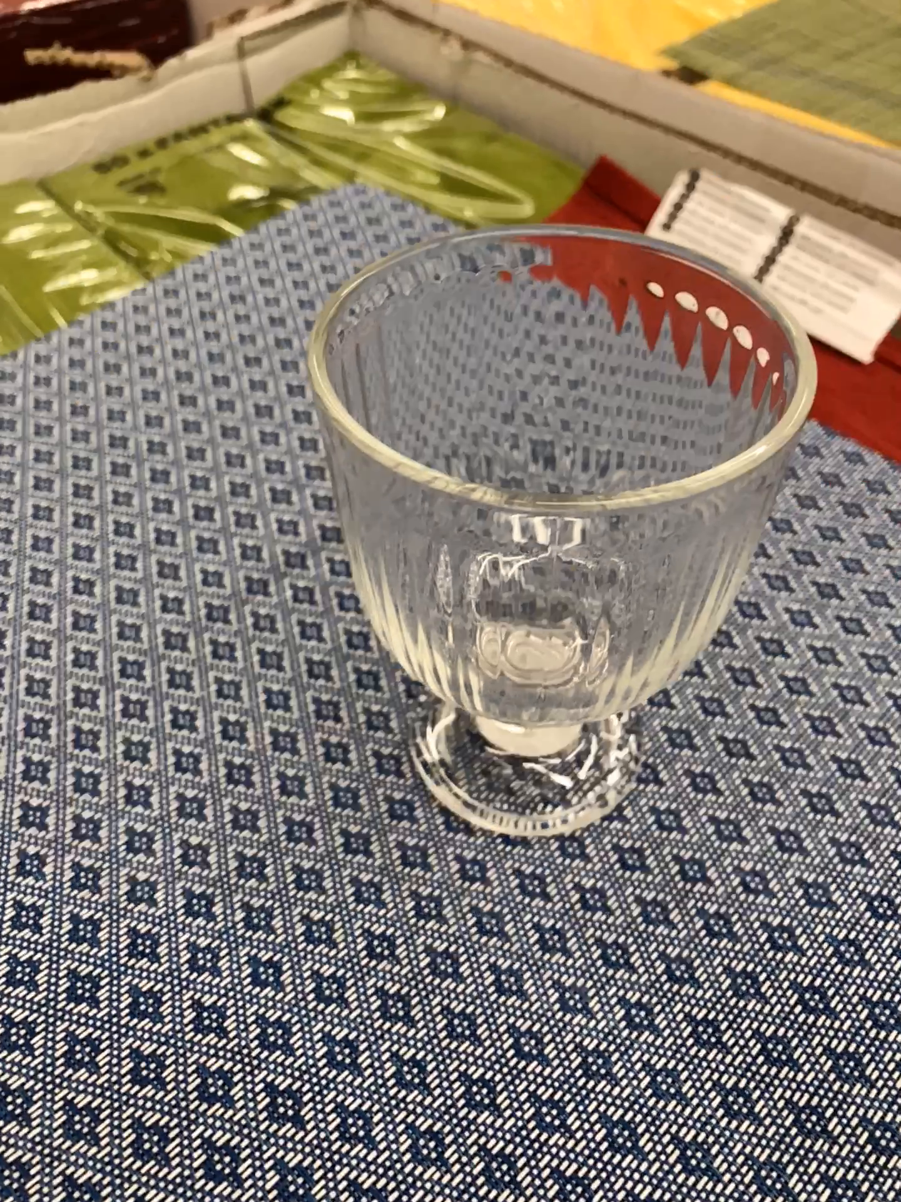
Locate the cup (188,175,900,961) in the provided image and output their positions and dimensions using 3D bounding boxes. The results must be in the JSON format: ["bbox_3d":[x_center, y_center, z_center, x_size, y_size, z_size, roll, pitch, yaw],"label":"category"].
[{"bbox_3d":[0.017,-0.010,0.227,0.100,0.110,0.100,-1,46,1],"label":"cup"}]
